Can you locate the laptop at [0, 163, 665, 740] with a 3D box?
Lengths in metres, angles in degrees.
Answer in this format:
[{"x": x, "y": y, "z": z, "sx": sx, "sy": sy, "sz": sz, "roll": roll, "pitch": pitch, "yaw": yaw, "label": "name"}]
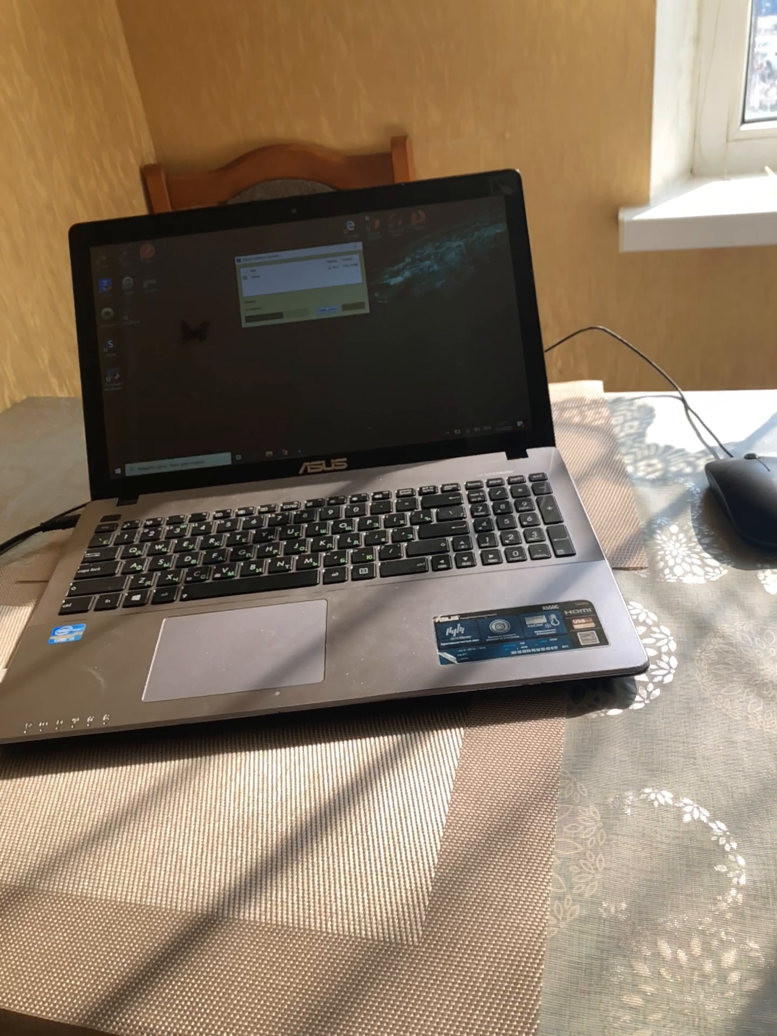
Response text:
[{"x": -0.062, "y": -0.085, "z": 0.597, "sx": 0.378, "sy": 0.183, "sz": 0.399, "roll": -7, "pitch": 33, "yaw": 2, "label": "laptop"}]
